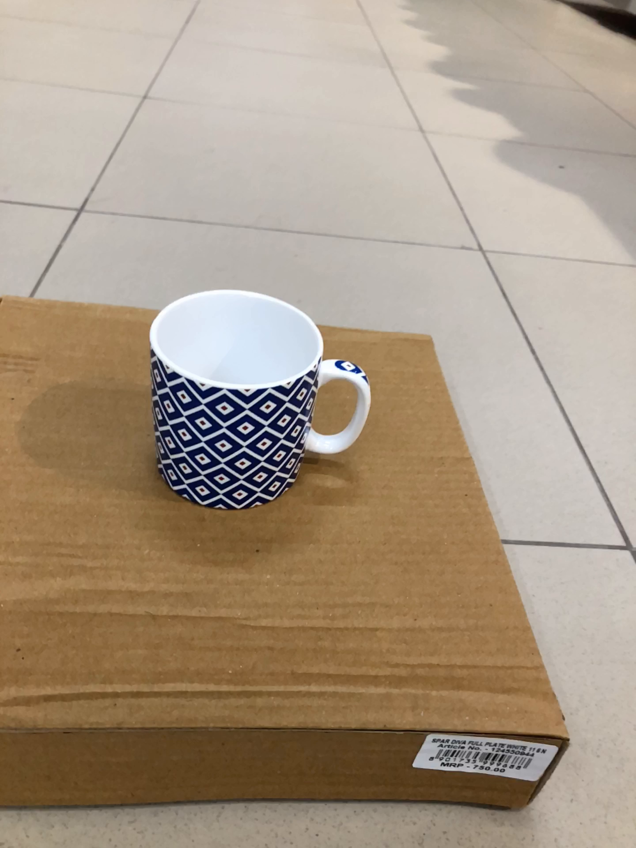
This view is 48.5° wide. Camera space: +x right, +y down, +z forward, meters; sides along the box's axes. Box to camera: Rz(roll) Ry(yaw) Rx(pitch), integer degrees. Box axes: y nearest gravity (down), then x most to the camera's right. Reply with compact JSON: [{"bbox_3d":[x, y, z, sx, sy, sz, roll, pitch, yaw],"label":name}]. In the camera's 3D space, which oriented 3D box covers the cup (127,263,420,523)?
[{"bbox_3d":[-0.023,-0.014,0.320,0.110,0.079,0.081,3,38,-8],"label":"cup"}]
